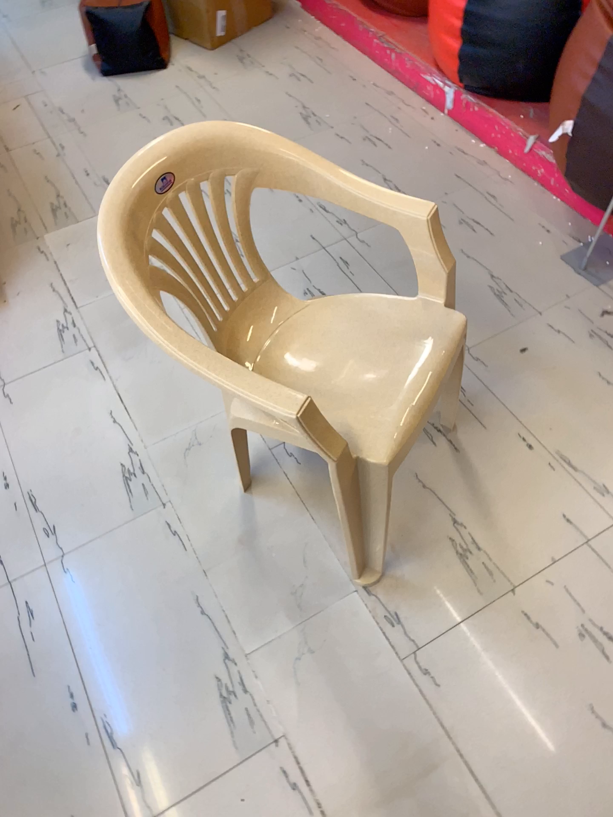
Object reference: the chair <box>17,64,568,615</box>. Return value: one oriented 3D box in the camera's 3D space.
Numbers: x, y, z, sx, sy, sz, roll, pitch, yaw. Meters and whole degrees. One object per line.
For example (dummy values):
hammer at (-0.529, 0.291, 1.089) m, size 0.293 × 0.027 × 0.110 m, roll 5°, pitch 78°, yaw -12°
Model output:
chair at (0.016, -0.113, 1.247) m, size 0.631 × 0.745 × 0.573 m, roll 23°, pitch 59°, yaw 19°
